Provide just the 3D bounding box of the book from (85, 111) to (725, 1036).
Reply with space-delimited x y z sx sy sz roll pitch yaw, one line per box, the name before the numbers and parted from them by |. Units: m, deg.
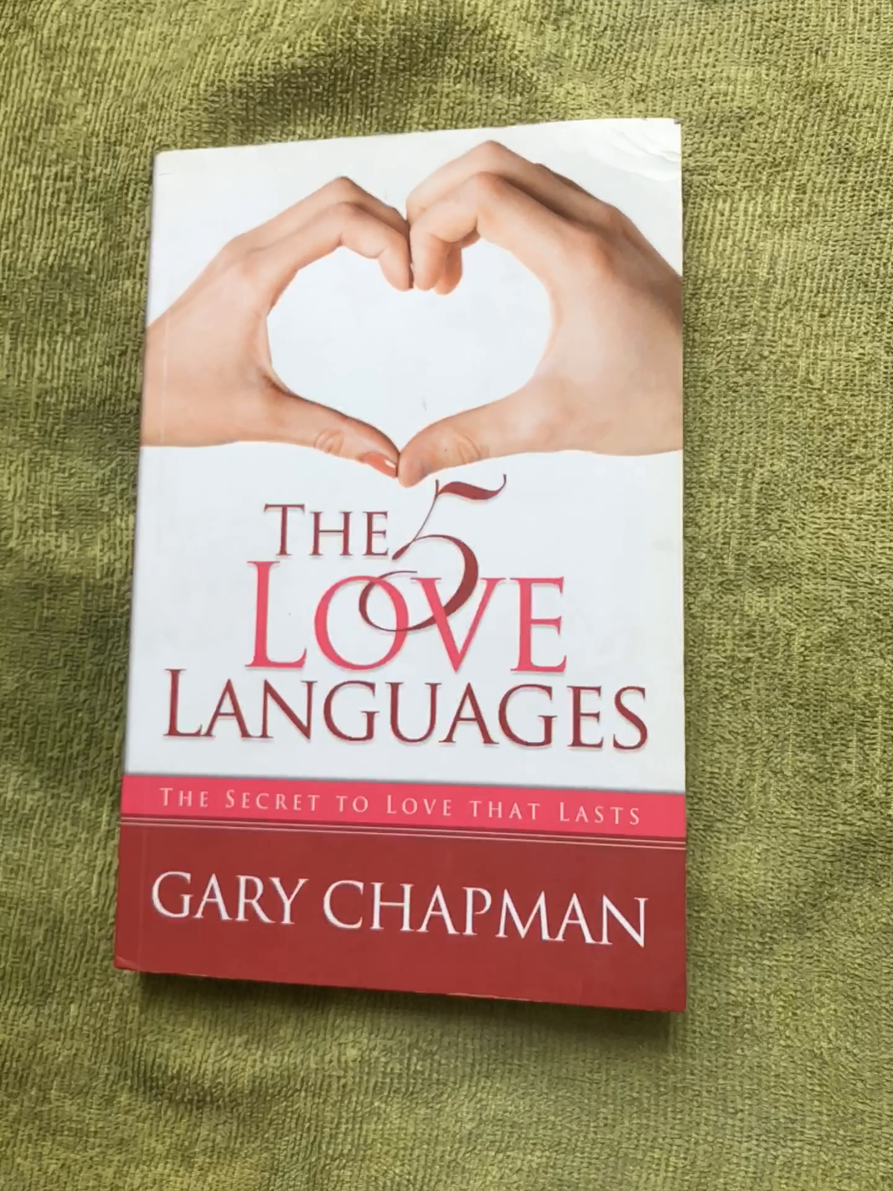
book | -0.009 -0.008 0.240 0.140 0.030 0.200 0 84 8
